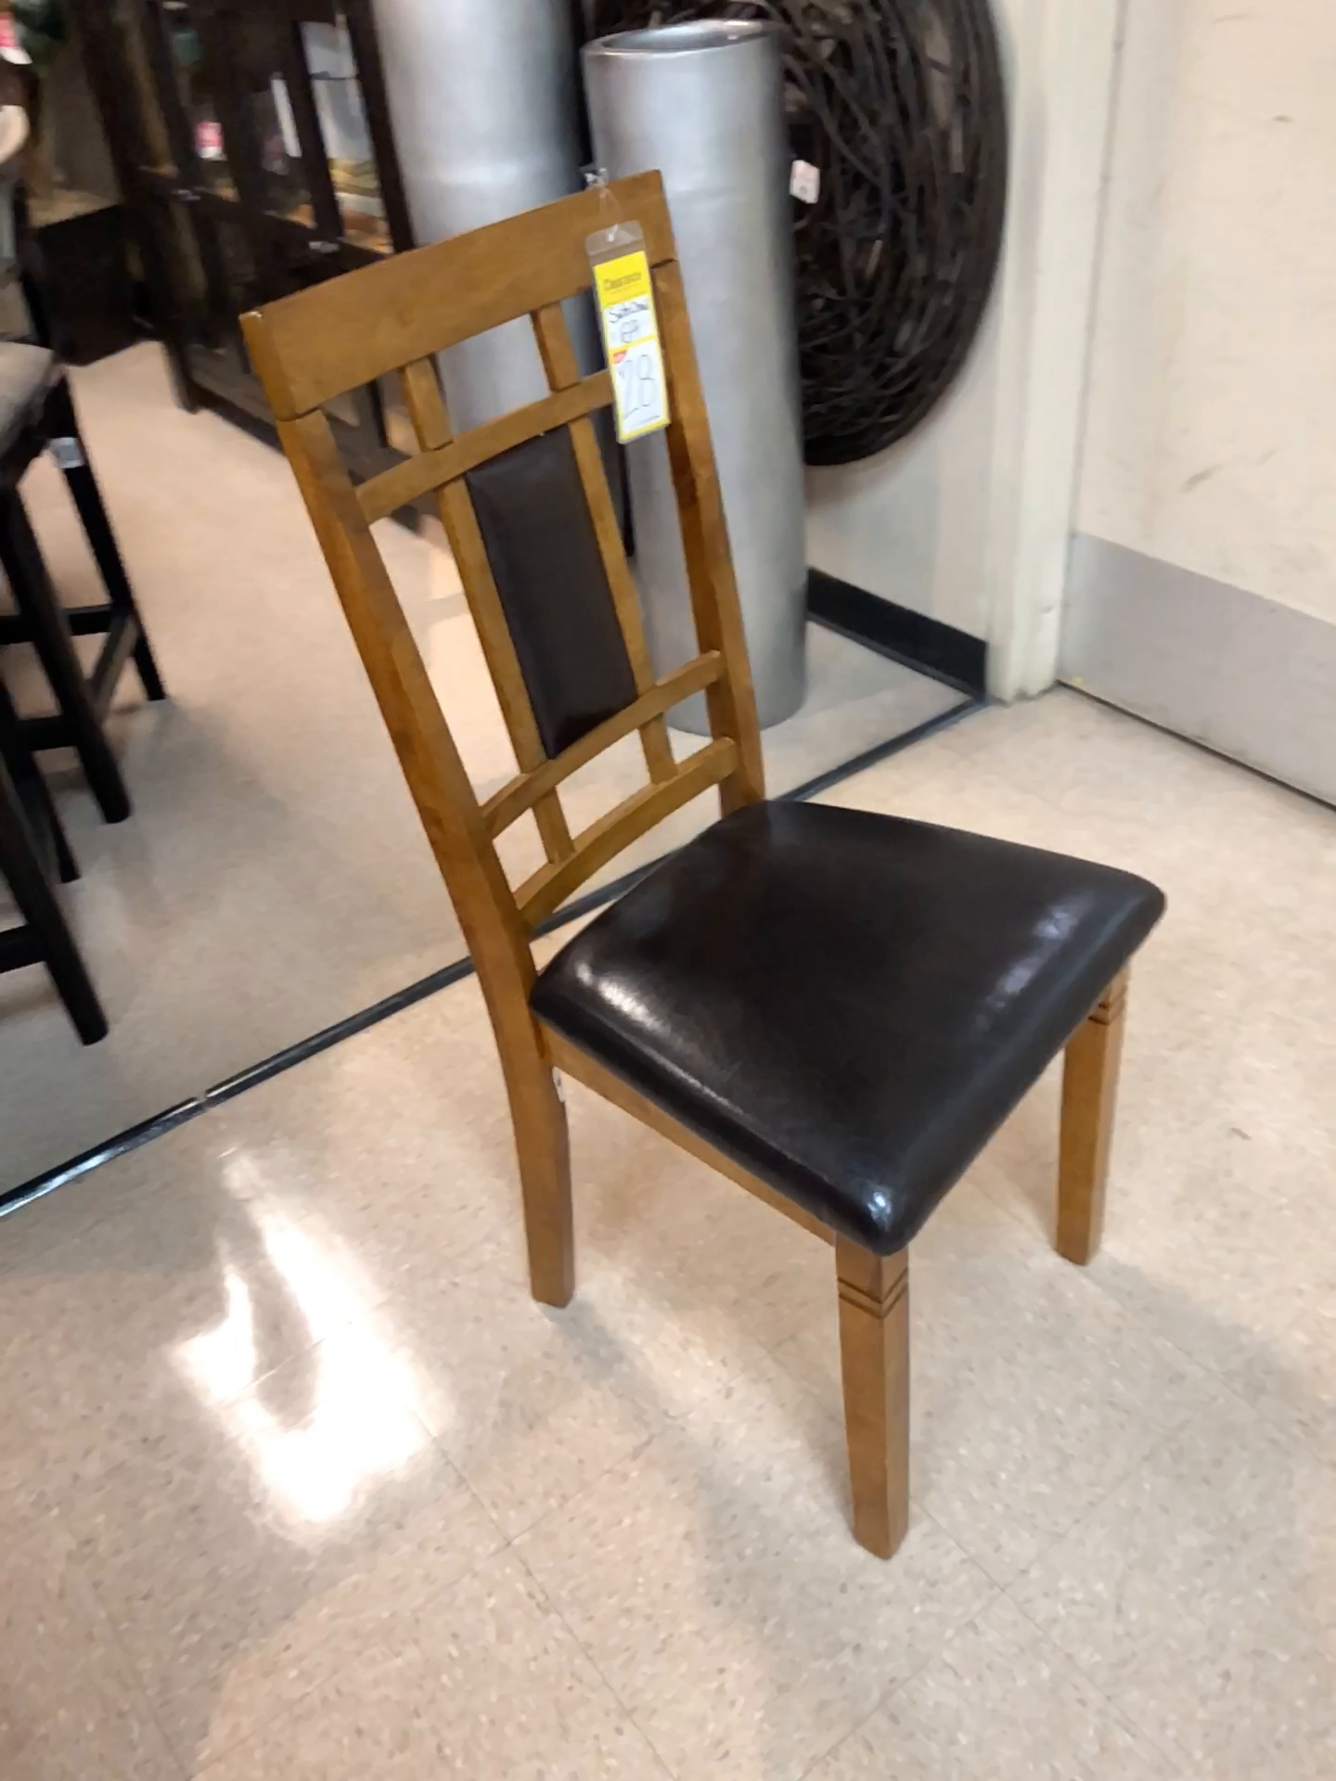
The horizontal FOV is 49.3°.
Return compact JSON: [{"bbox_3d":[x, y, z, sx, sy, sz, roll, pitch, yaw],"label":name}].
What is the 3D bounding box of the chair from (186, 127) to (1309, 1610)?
[{"bbox_3d":[0.085,-0.001,1.168,0.502,0.993,0.452,23,45,32],"label":"chair"}]
